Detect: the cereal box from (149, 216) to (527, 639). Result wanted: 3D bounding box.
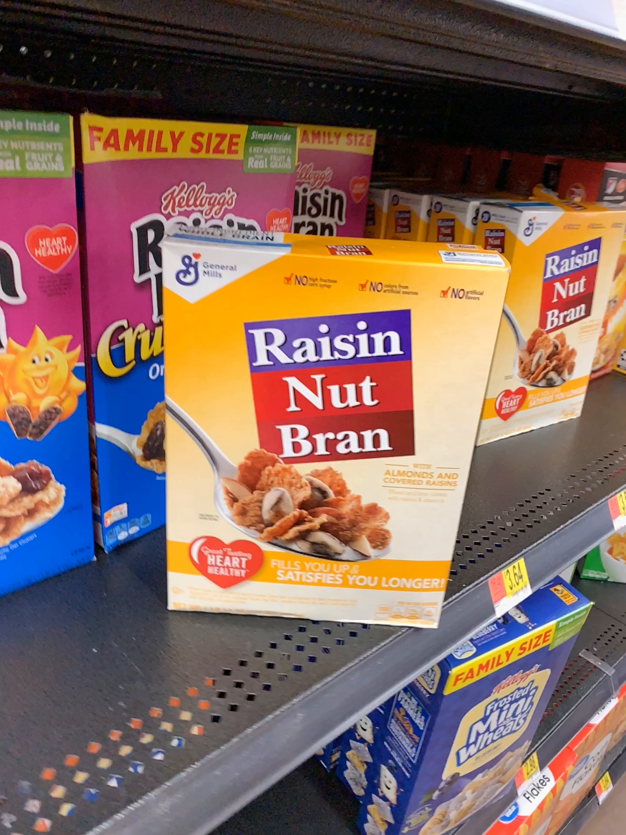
[{"bbox_3d":[0.003,0.015,0.420,0.200,0.259,0.060,5,24,-1],"label":"cereal box"}]
